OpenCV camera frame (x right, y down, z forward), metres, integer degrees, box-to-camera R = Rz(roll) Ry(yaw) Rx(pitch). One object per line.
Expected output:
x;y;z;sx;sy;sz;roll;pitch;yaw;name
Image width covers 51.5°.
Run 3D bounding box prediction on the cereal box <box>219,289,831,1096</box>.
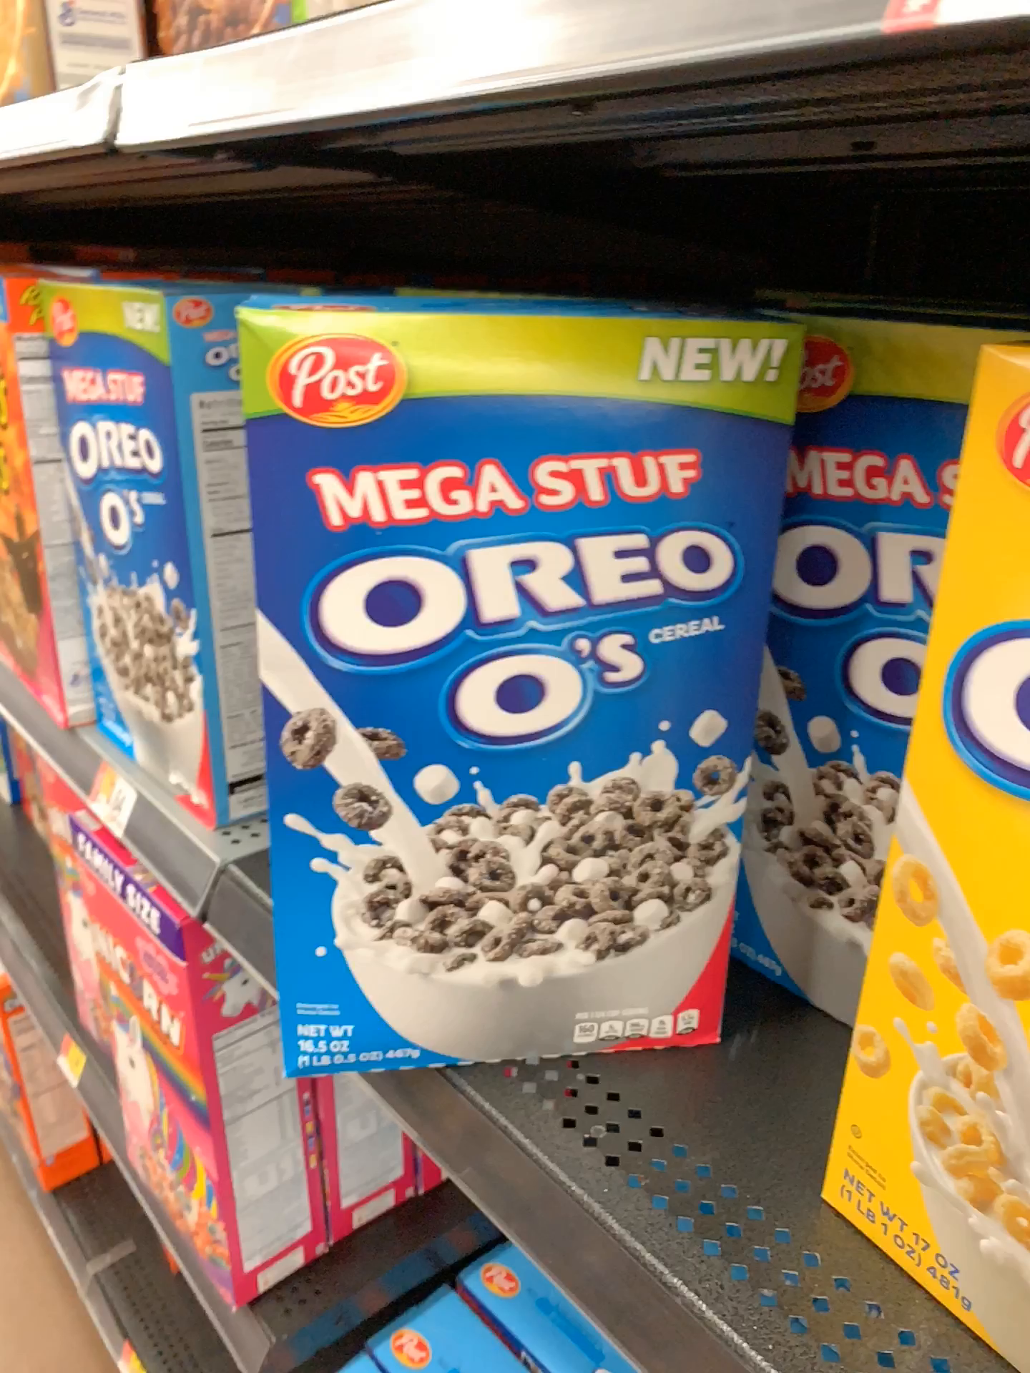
-0.002;0.008;0.459;0.210;0.329;0.080;-2;22;-9;cereal box
